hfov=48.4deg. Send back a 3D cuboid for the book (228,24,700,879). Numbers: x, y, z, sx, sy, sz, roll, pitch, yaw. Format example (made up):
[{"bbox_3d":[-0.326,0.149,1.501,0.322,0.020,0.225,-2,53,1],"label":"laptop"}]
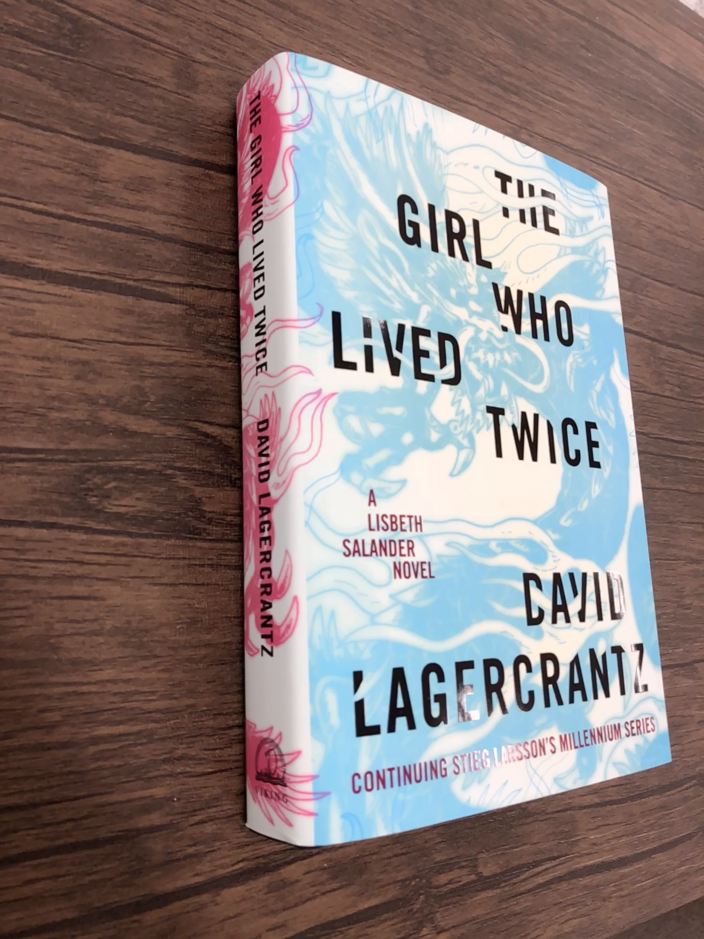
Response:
[{"bbox_3d":[0.044,-0.007,0.280,0.171,0.040,0.240,5,78,-35],"label":"book"}]
